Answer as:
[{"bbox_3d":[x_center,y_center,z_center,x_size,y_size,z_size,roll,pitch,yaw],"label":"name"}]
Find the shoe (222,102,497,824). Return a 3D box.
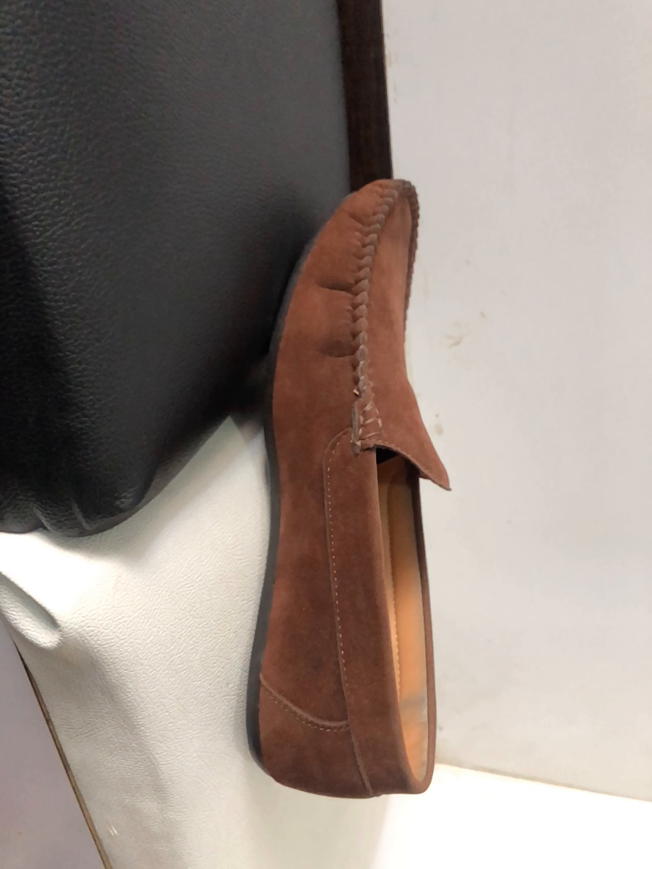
[{"bbox_3d":[0.031,0.011,0.367,0.141,0.080,0.290,28,66,-70],"label":"shoe"}]
